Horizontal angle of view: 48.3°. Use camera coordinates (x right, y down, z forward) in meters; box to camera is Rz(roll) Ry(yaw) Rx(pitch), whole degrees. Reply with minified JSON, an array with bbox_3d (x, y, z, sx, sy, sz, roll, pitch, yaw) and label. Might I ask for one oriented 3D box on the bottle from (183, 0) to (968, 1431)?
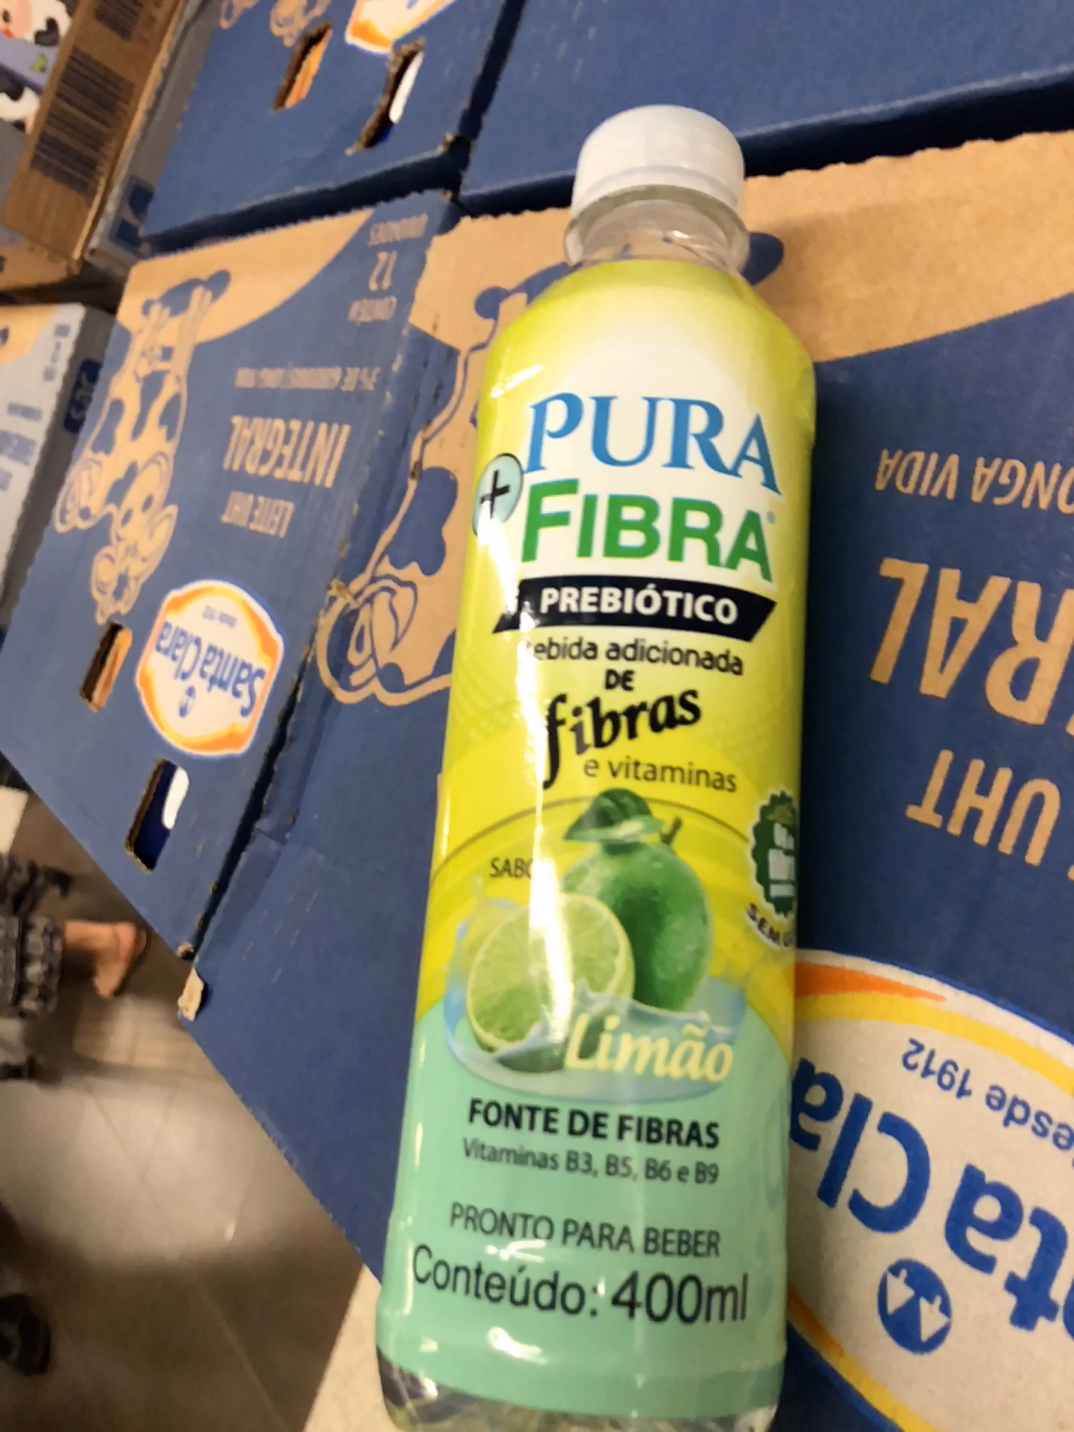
[{"bbox_3d":[0.016,-0.016,0.192,0.070,0.060,0.250,-11,63,48],"label":"bottle"}]
